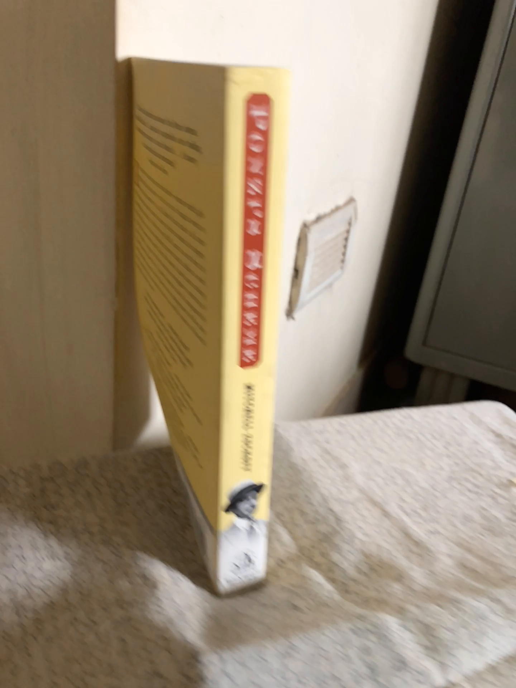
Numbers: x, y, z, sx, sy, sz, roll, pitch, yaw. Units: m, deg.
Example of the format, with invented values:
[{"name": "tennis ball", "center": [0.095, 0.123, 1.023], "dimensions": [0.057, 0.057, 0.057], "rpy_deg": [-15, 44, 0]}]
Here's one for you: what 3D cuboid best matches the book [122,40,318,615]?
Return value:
[{"name": "book", "center": [-0.028, -0.015, 0.256], "dimensions": [0.040, 0.209, 0.141], "rpy_deg": [-5, 28, -16]}]
